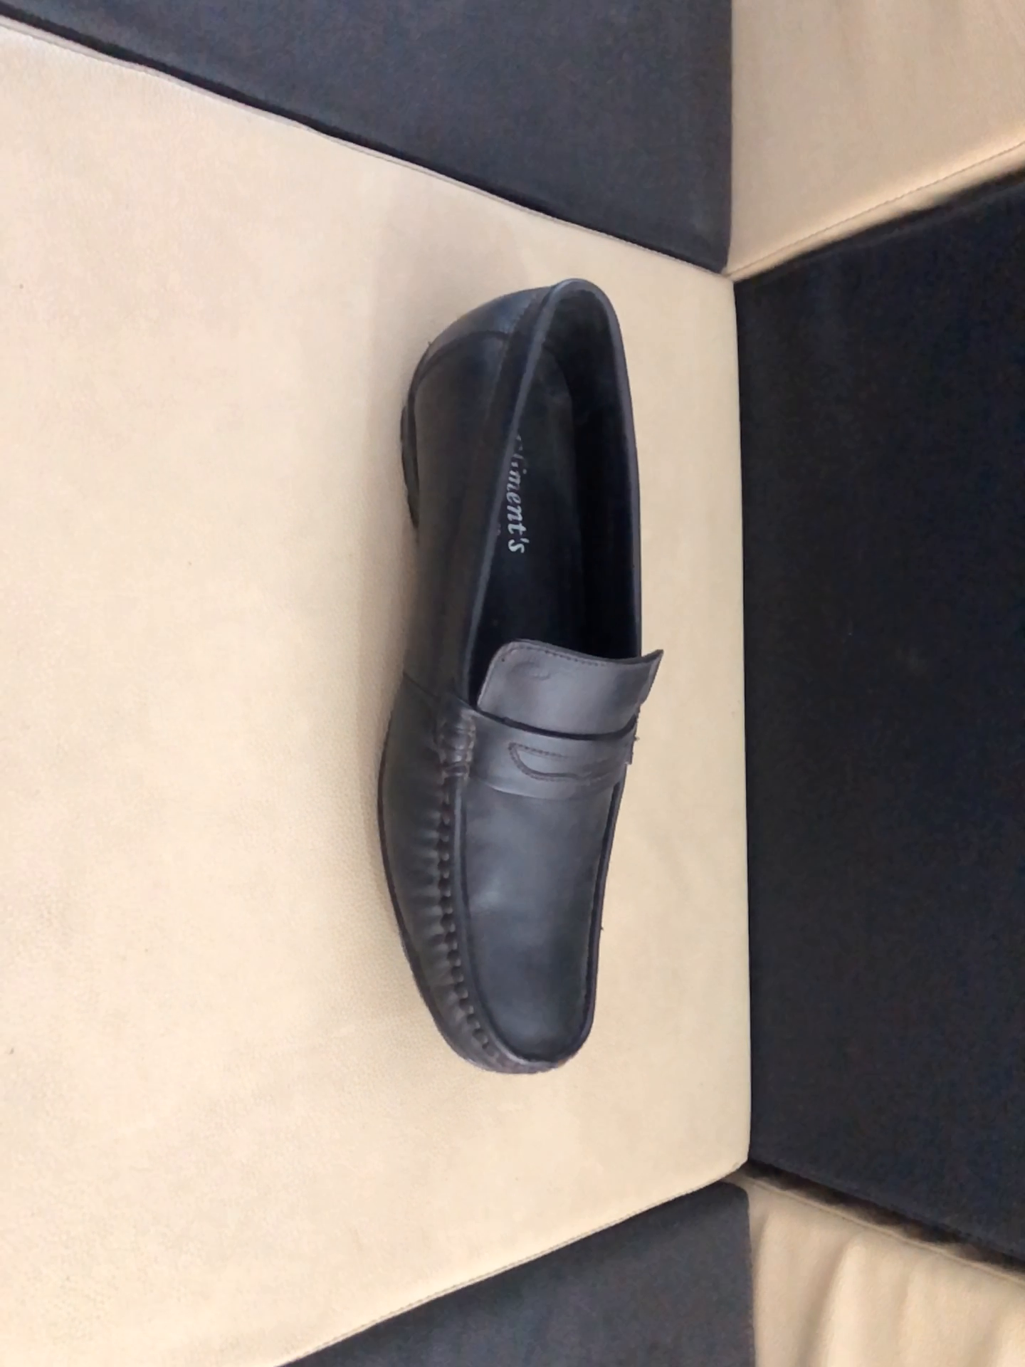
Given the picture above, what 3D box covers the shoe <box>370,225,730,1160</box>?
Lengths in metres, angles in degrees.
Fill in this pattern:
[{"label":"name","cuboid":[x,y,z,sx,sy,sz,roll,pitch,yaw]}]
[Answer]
[{"label":"shoe","cuboid":[0.014,0.003,0.413,0.101,0.079,0.290,3,85,-39]}]
